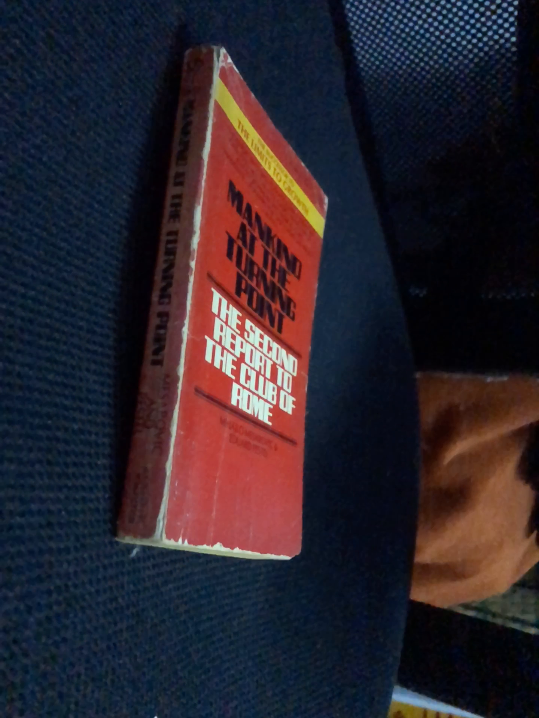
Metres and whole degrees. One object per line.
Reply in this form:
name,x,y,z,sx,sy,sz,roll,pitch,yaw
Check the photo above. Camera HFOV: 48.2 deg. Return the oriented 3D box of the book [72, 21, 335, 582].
book,-0.011,-0.013,0.247,0.117,0.025,0.194,35,56,-58
